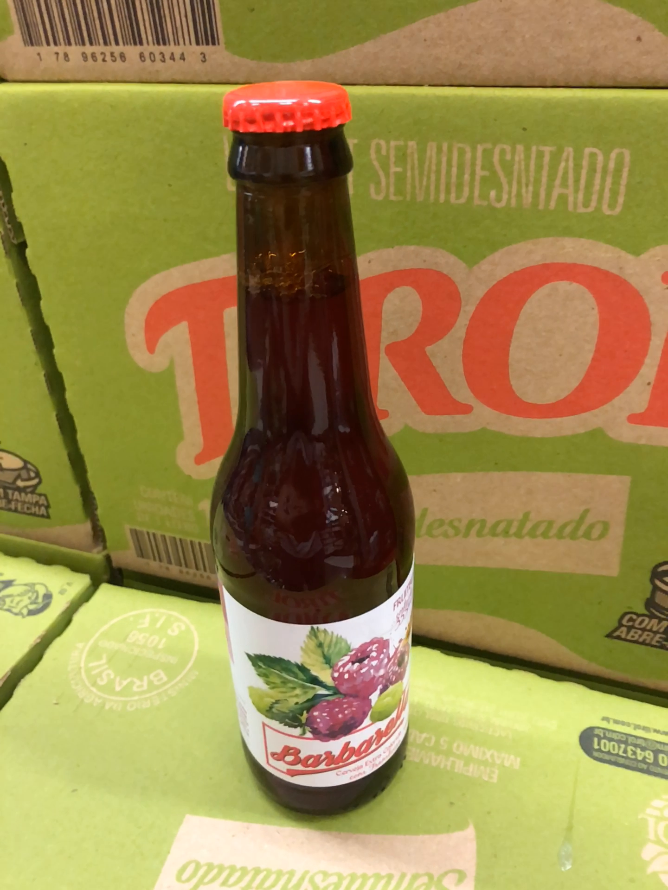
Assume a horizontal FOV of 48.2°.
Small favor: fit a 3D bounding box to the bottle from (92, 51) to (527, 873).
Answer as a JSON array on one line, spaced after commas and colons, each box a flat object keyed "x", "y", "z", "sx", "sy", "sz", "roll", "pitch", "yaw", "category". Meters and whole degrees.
[{"x": -0.006, "y": 0.020, "z": 0.216, "sx": 0.070, "sy": 0.228, "sz": 0.060, "roll": -17, "pitch": 36, "yaw": -22, "category": "bottle"}]
